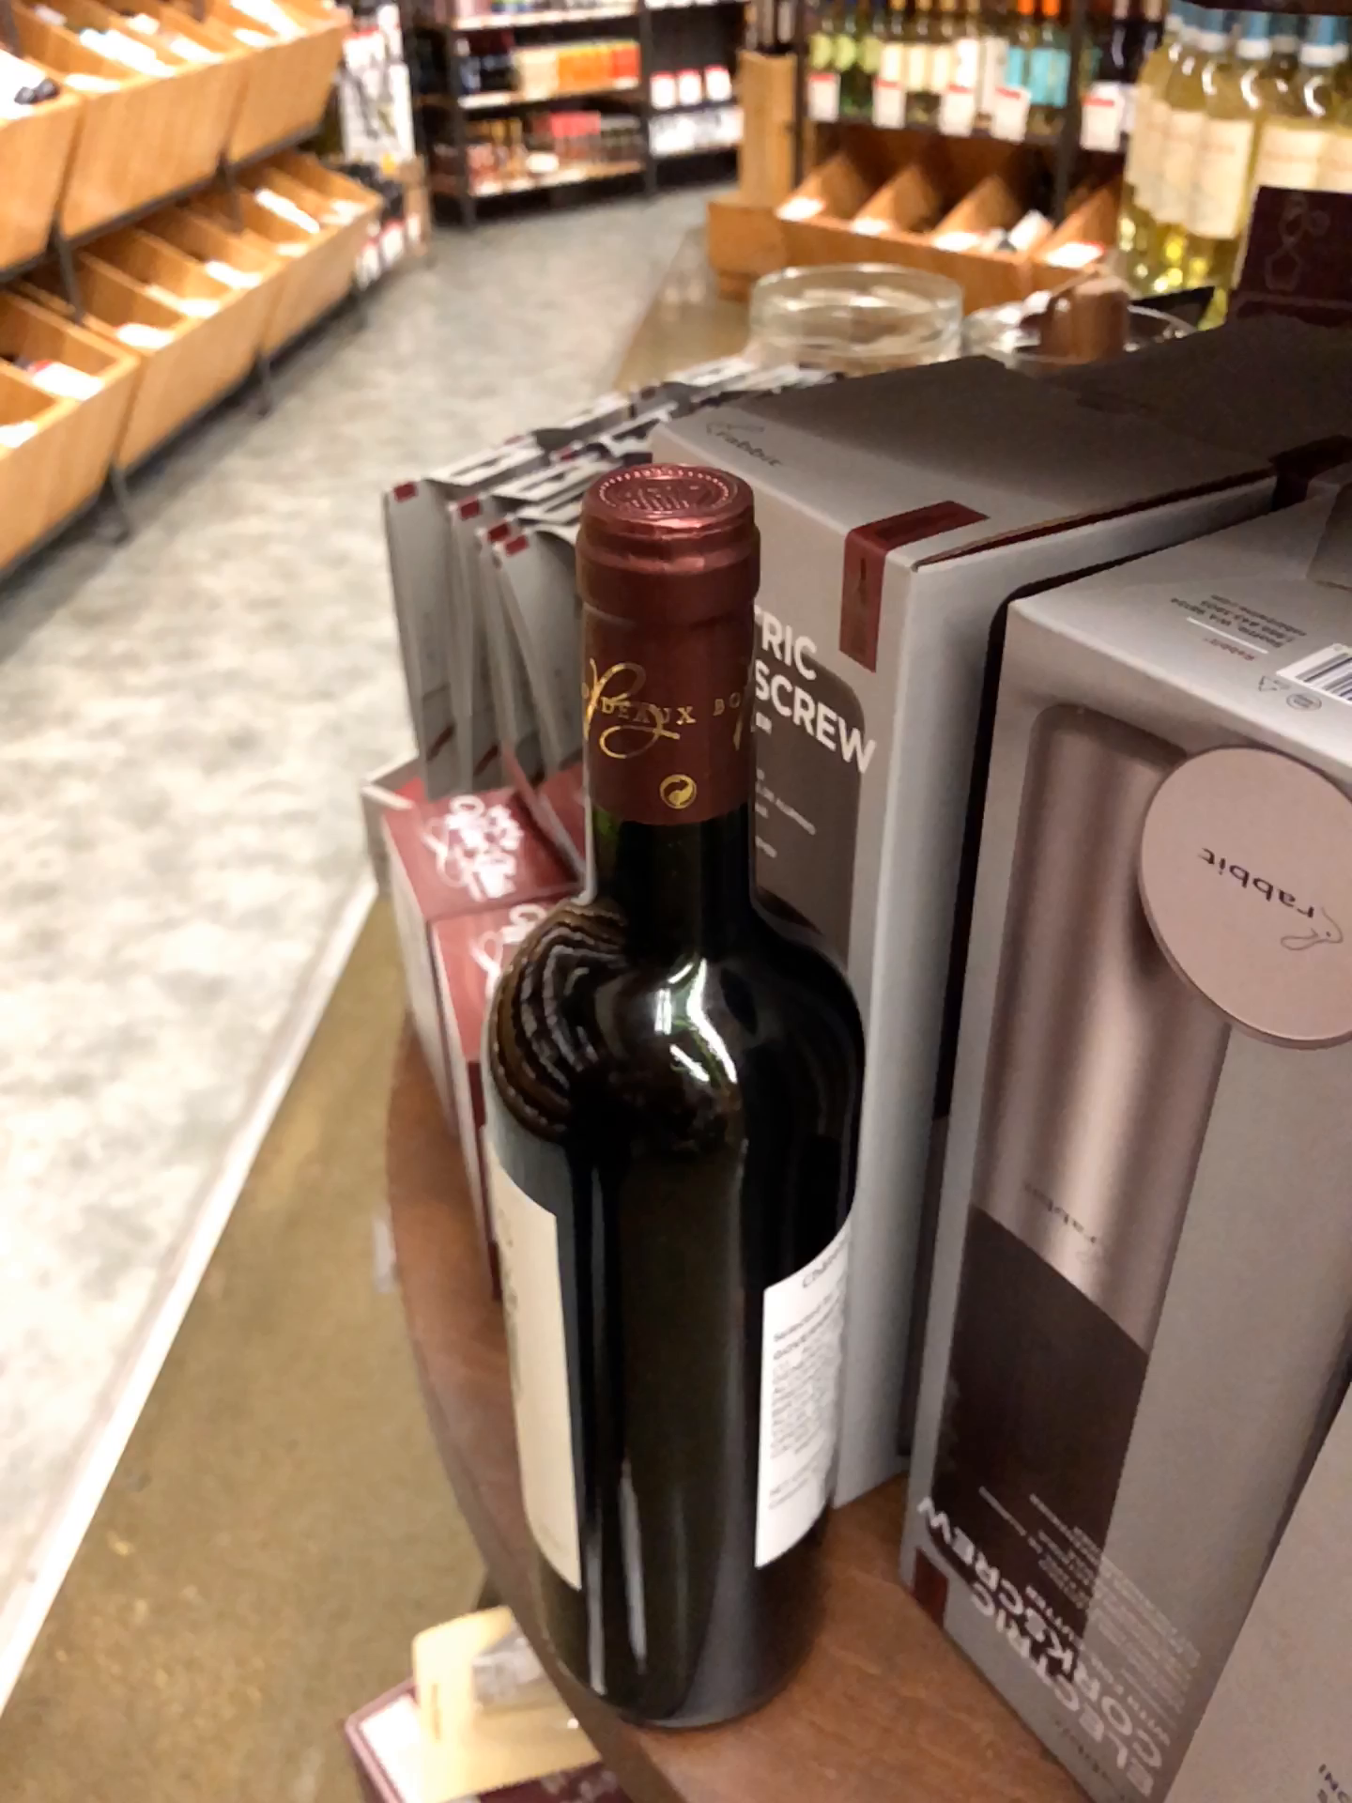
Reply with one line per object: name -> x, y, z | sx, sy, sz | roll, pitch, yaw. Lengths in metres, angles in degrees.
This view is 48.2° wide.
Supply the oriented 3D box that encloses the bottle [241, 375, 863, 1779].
bottle -> -0.008, 0.056, 0.311 | 0.080, 0.299, 0.080 | -1, 33, 1
